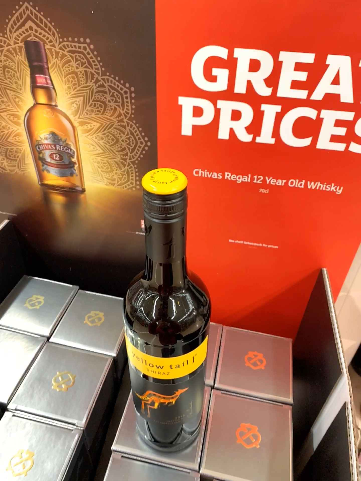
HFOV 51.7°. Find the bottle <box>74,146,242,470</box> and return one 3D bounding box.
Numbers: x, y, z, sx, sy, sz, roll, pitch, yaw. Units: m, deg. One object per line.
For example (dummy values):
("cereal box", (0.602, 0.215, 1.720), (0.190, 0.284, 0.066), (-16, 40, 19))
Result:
("bottle", (-0.011, 0.084, 0.318), (0.086, 0.307, 0.082), (1, 39, -1))
